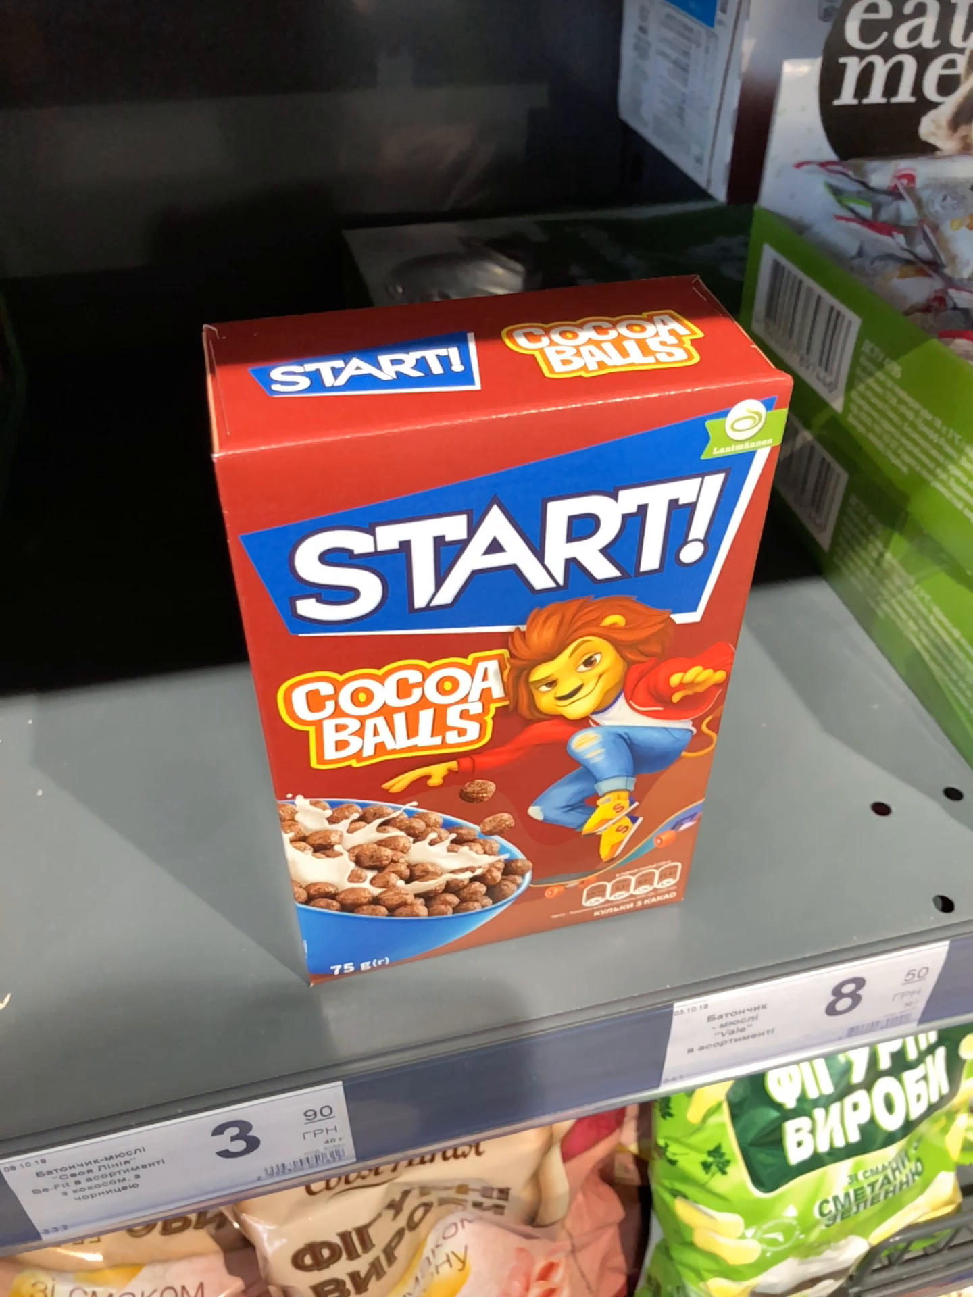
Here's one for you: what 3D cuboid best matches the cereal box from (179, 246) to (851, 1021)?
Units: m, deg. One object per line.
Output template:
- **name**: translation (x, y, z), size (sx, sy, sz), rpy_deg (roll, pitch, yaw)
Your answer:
- **cereal box**: translation (0.001, 0.005, 0.256), size (0.110, 0.169, 0.060), rpy_deg (-10, 44, -12)
